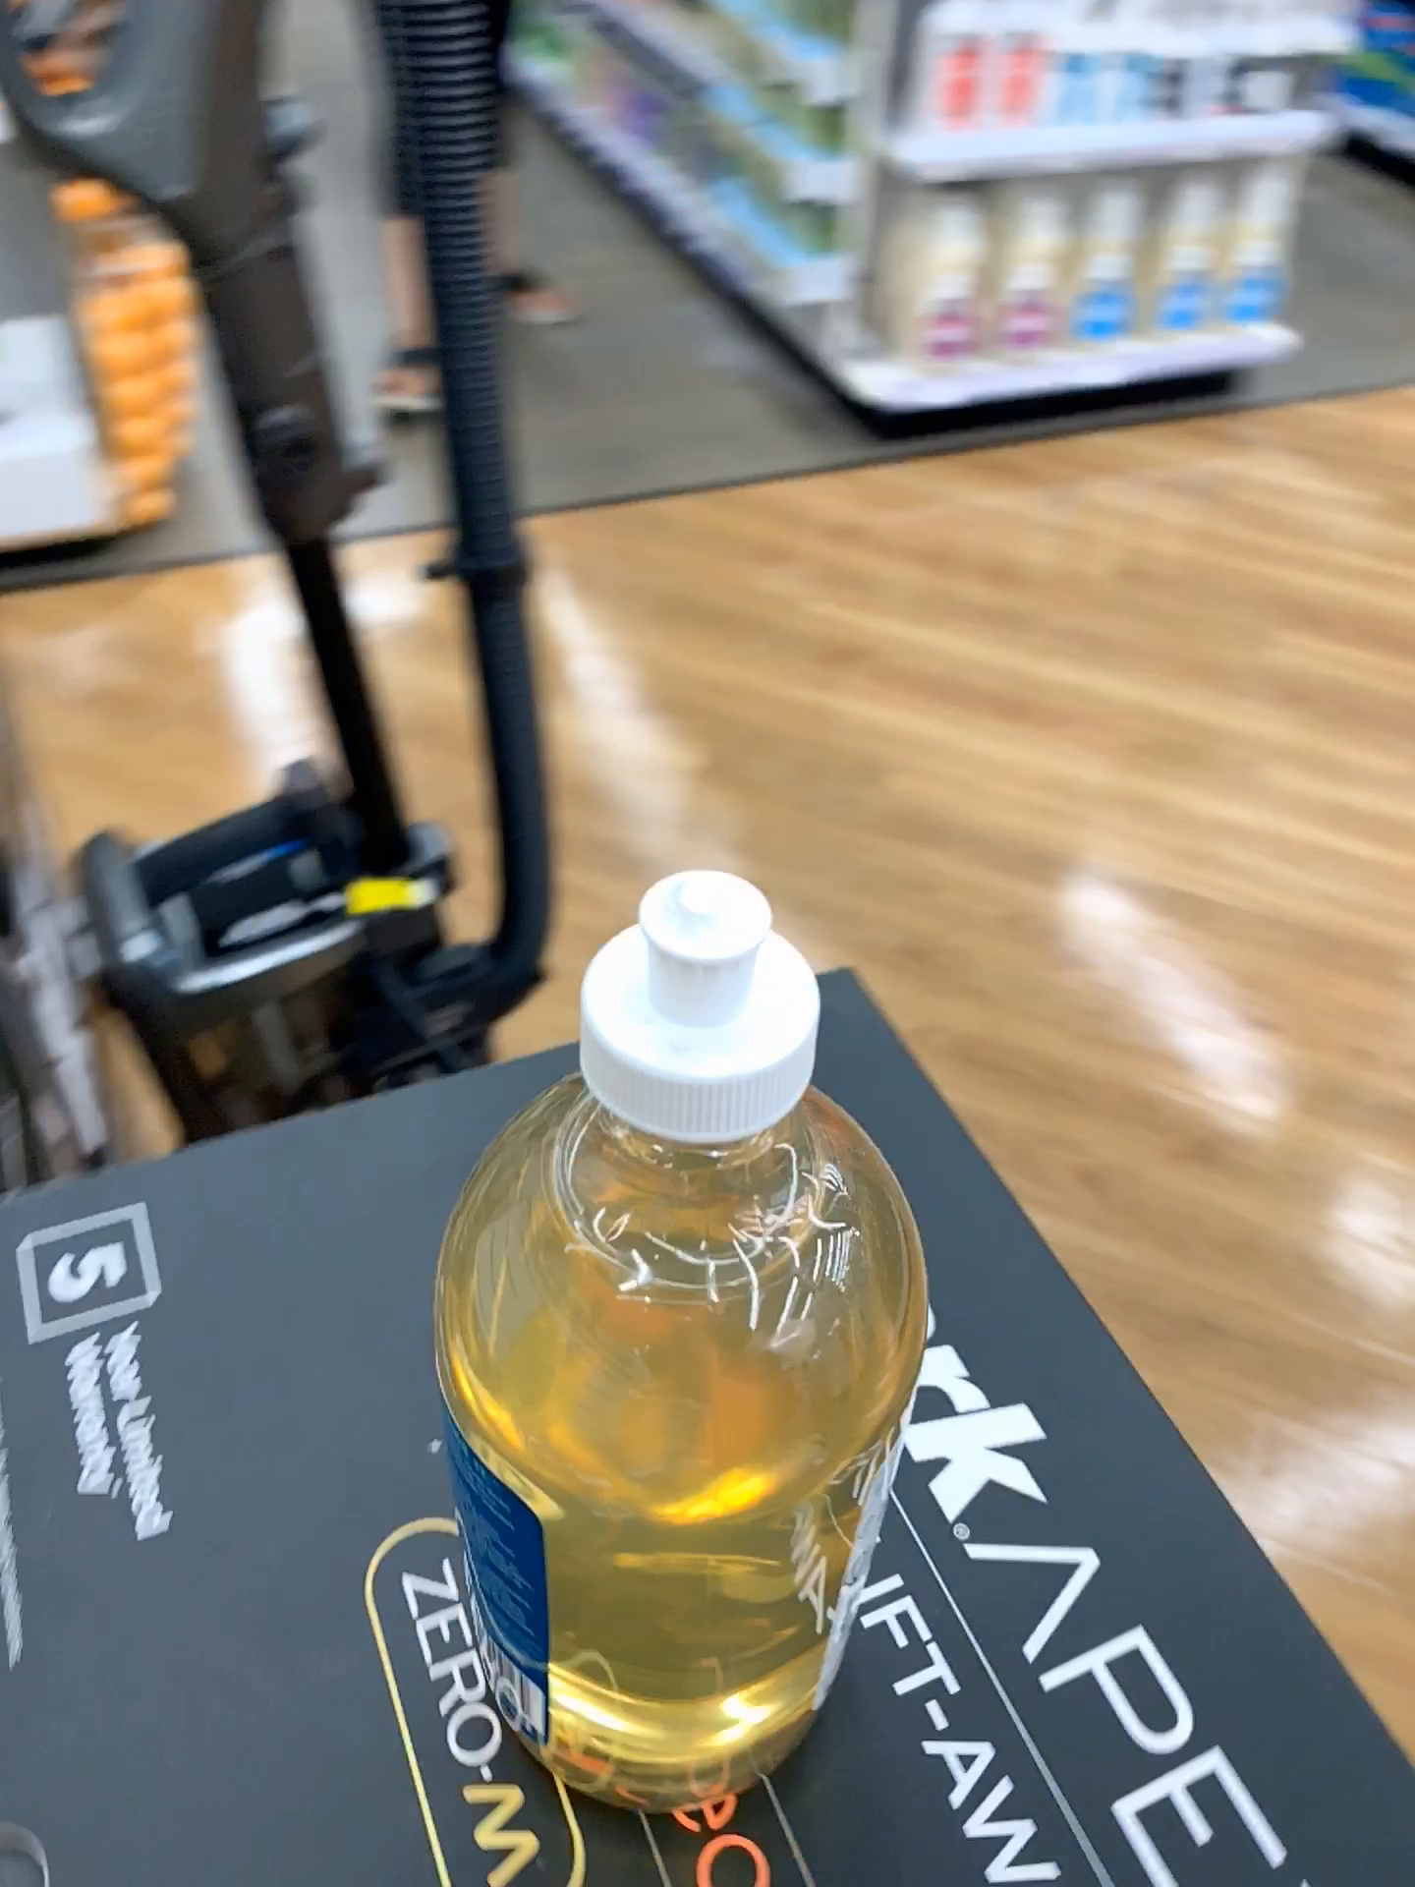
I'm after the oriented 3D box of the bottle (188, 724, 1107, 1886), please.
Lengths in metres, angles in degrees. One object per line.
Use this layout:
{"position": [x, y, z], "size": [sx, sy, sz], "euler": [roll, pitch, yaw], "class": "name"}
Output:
{"position": [-0.016, 0.078, 0.247], "size": [0.090, 0.209, 0.090], "euler": [2, 44, -2], "class": "bottle"}
